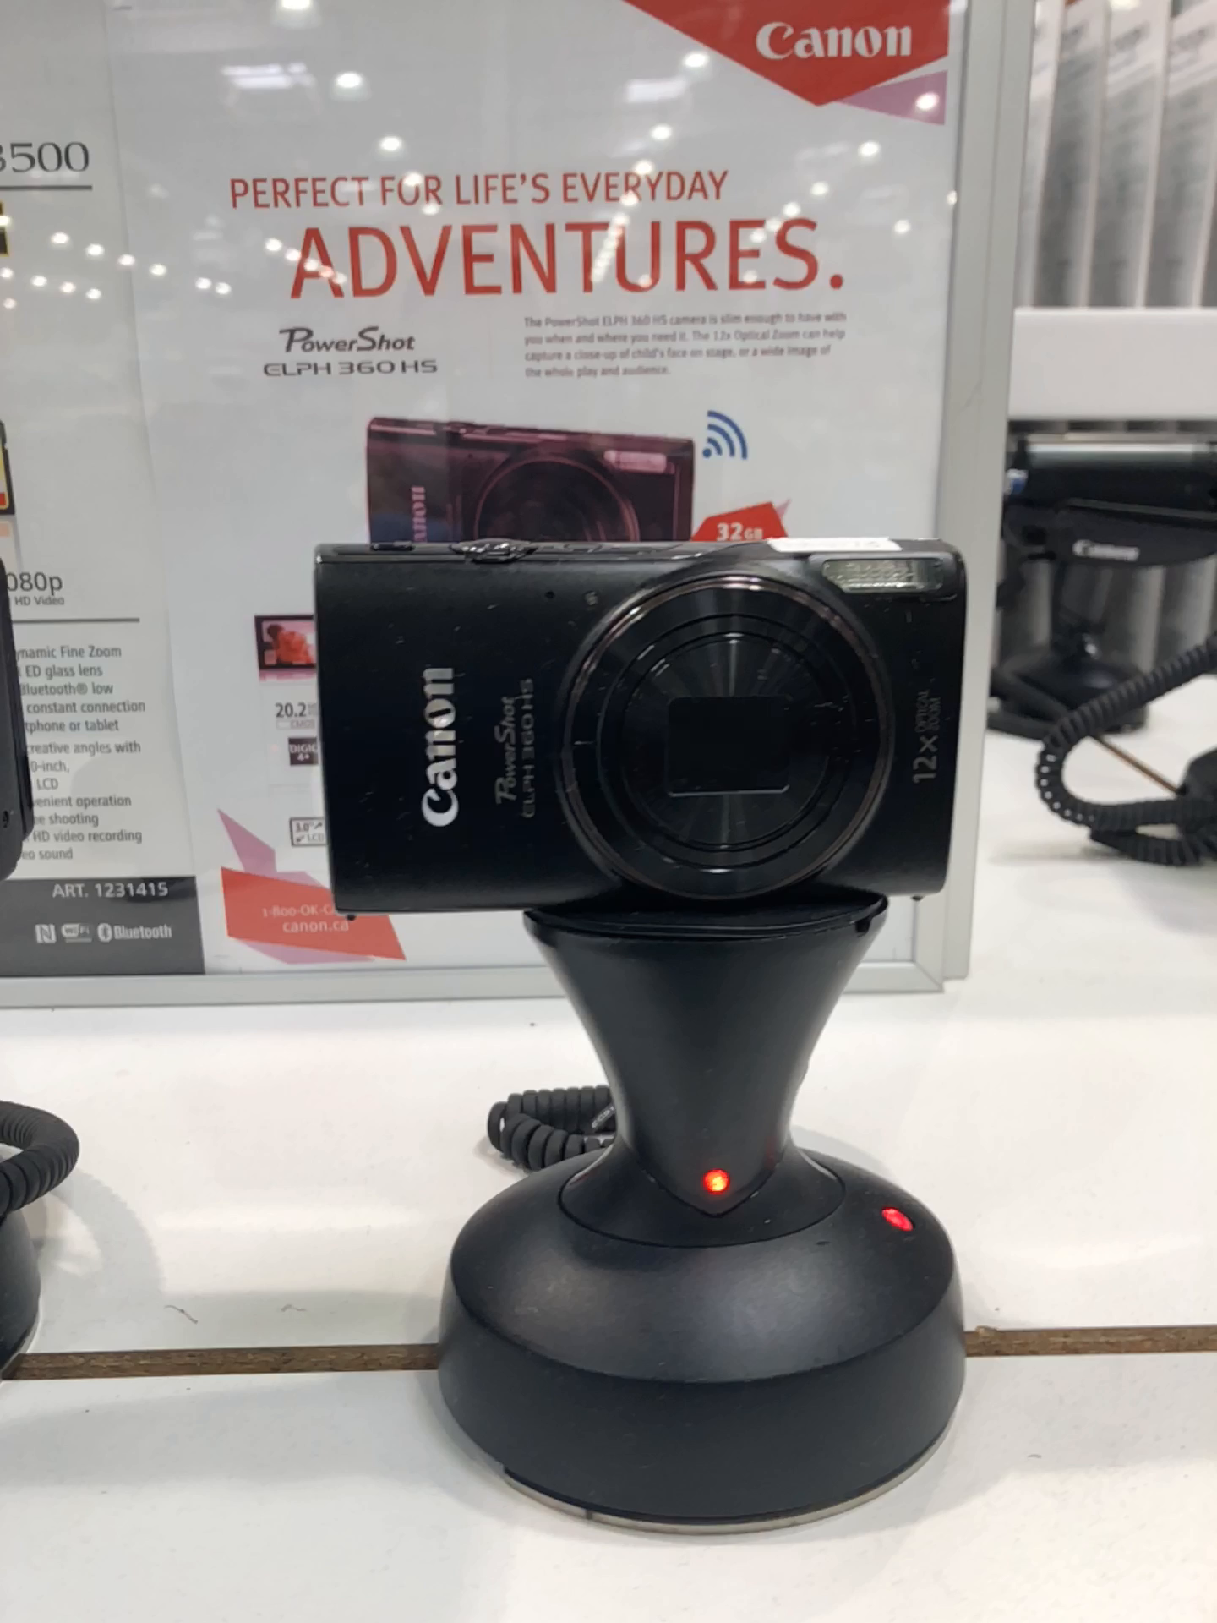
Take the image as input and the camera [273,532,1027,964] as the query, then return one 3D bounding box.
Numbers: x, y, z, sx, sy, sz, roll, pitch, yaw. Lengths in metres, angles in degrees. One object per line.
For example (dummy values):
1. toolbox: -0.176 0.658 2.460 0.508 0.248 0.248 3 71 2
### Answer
1. camera: 0.006 -0.013 0.225 0.110 0.060 0.040 -2 16 -4
